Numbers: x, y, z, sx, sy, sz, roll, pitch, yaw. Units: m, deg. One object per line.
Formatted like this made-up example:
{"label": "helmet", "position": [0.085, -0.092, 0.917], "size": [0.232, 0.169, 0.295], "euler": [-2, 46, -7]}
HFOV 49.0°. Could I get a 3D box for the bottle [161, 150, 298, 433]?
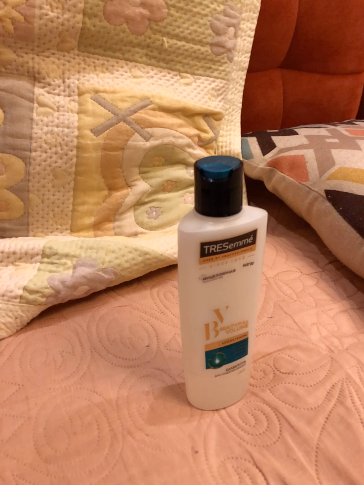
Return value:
{"label": "bottle", "position": [0.026, 0.041, 0.284], "size": [0.070, 0.199, 0.040], "euler": [-12, 31, -21]}
